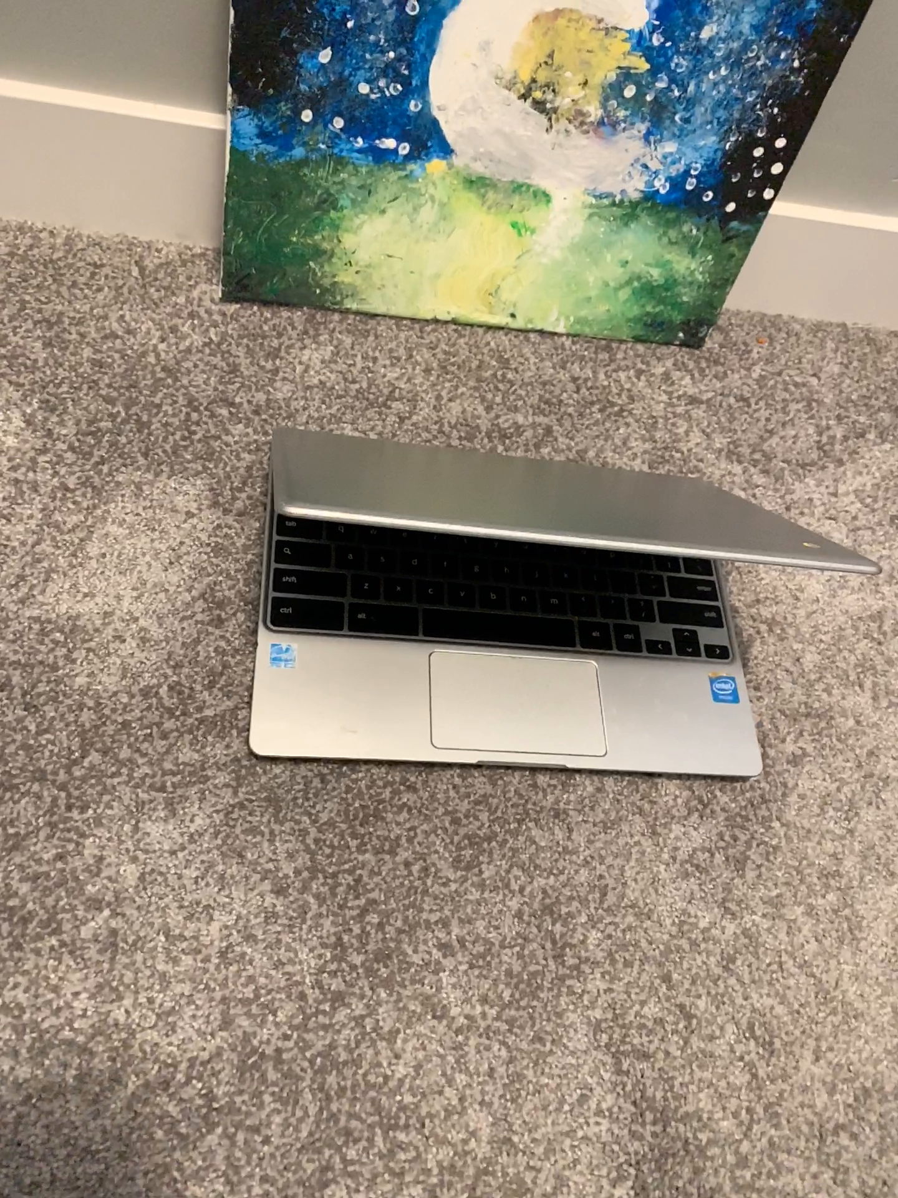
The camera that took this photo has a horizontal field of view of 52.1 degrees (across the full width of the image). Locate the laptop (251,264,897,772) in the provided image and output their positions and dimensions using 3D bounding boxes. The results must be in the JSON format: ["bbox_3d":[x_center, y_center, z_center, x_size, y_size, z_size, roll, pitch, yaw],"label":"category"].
[{"bbox_3d":[0.053,-0.030,0.496,0.294,0.144,0.200,5,61,-13],"label":"laptop"}]
